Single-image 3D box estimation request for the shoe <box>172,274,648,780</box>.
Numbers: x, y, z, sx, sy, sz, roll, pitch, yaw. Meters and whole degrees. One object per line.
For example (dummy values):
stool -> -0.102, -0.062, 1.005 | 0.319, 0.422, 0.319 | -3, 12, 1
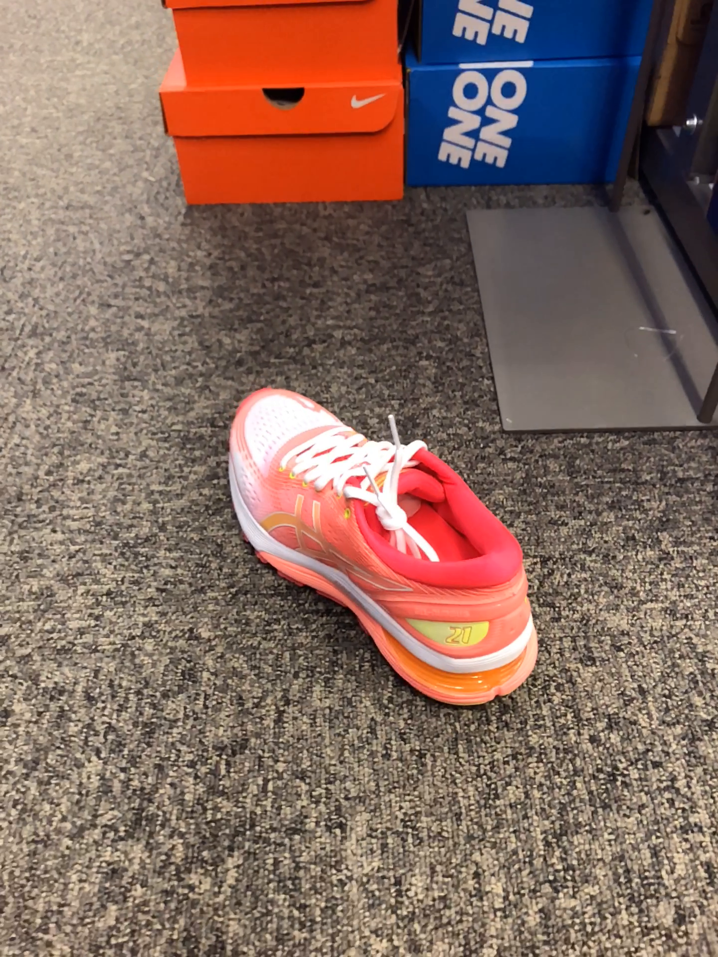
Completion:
shoe -> 0.012, 0.013, 0.467 | 0.108, 0.129, 0.268 | -29, 52, -23
